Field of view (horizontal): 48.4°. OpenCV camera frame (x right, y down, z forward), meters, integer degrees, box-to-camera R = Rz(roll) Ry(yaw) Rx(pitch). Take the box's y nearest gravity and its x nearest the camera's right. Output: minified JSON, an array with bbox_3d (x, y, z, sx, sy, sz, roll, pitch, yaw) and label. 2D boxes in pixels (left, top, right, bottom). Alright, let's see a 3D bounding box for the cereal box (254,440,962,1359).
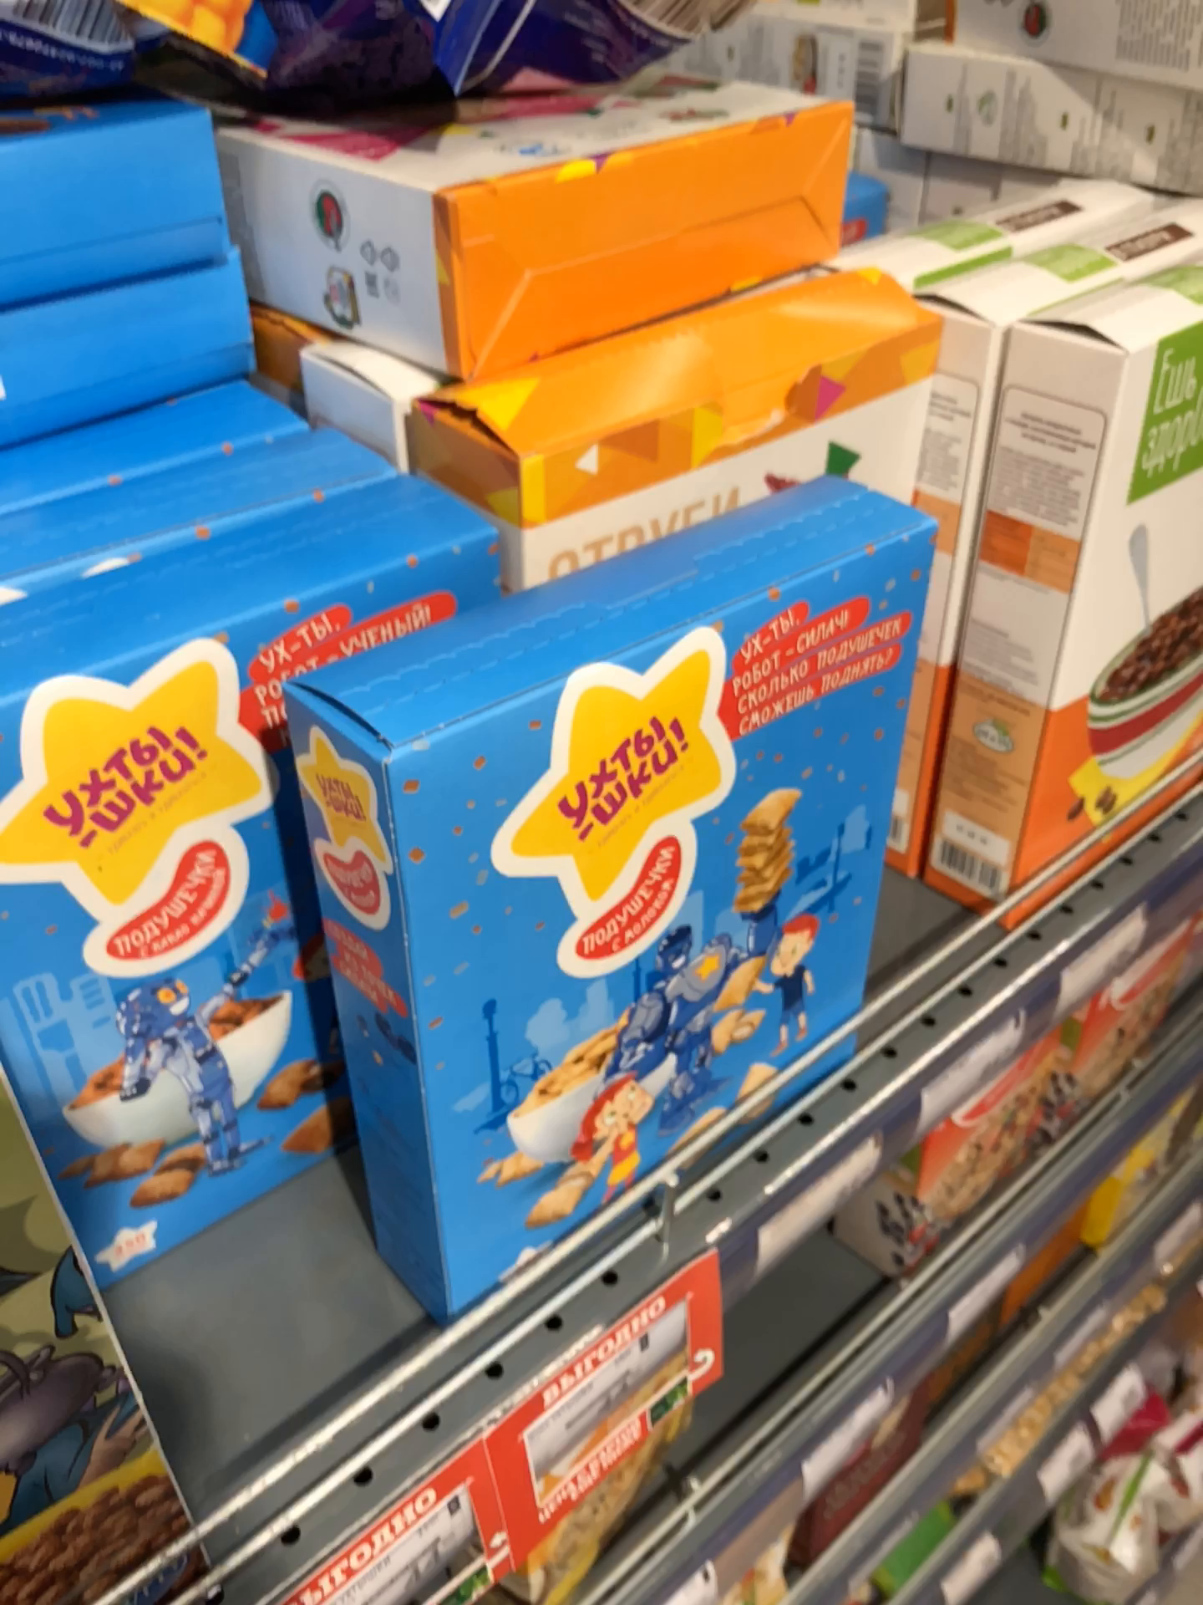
[{"bbox_3d":[0.012,0.033,0.424,0.200,0.238,0.050,-27,45,-30],"label":"cereal box"}]
